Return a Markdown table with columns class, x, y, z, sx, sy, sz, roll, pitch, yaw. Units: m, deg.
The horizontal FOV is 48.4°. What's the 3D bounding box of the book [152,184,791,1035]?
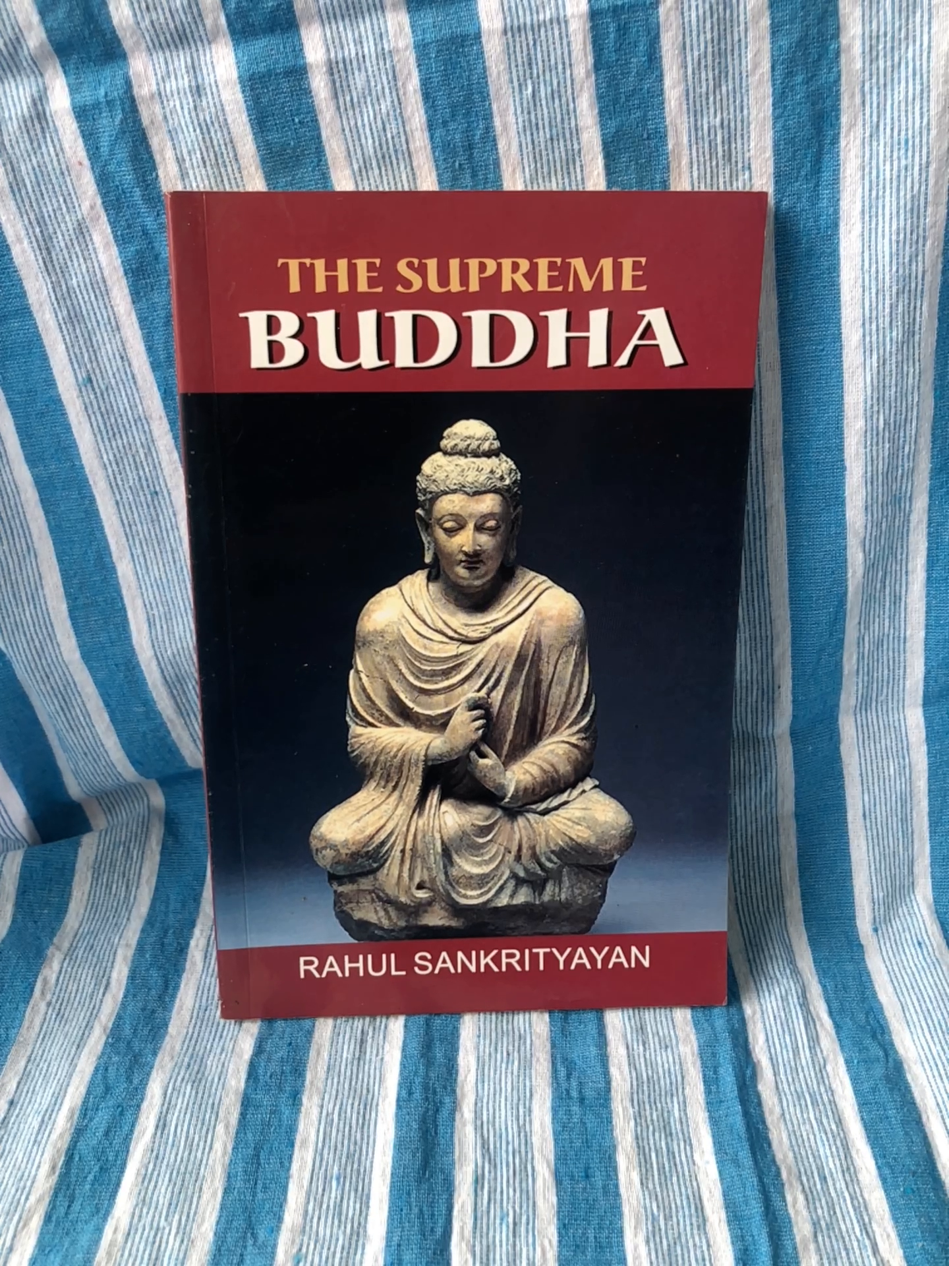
| class | x | y | z | sx | sy | sz | roll | pitch | yaw |
| --- | --- | --- | --- | --- | --- | --- | --- | --- | --- |
| book | 0.000 | 0.000 | 0.281 | 0.150 | 0.219 | 0.020 | -1 | 12 | -2 |
